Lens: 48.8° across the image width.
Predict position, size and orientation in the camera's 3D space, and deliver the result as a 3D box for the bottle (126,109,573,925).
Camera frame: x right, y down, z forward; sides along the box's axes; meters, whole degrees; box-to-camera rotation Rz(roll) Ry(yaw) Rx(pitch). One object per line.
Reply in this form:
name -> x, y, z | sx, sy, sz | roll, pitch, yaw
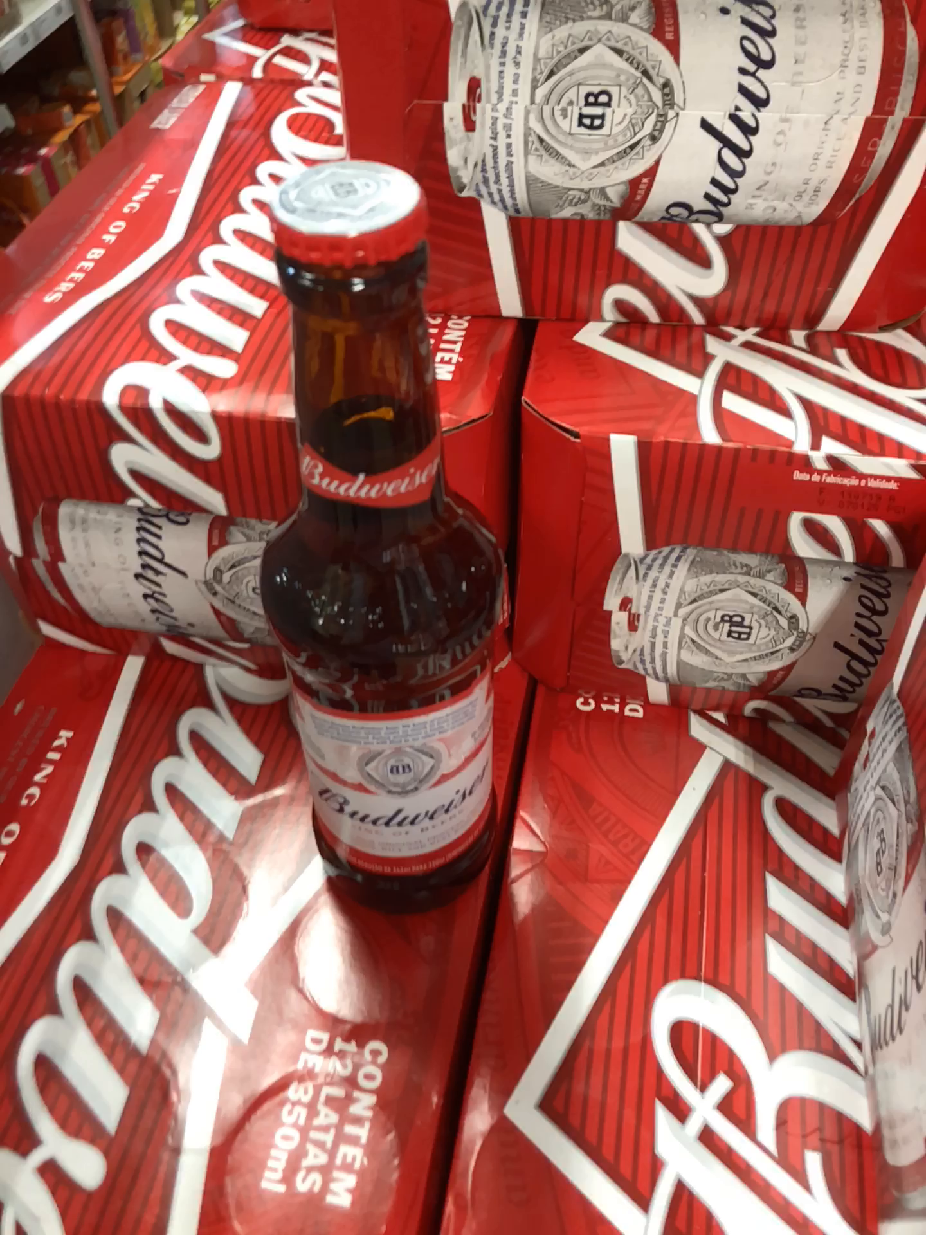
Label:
bottle -> -0.016, 0.000, 0.265 | 0.070, 0.229, 0.060 | -1, 48, 0
